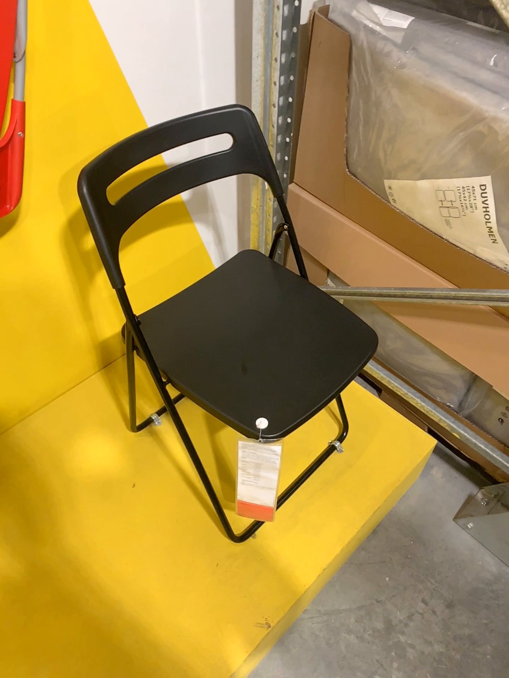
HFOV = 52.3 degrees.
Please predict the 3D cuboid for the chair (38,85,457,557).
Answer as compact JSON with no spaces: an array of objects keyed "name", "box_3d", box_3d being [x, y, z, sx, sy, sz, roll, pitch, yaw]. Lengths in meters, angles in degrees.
[{"name":"chair","box_3d":[-0.014,-0.016,1.026,0.441,0.698,0.441,36,56,28]}]
